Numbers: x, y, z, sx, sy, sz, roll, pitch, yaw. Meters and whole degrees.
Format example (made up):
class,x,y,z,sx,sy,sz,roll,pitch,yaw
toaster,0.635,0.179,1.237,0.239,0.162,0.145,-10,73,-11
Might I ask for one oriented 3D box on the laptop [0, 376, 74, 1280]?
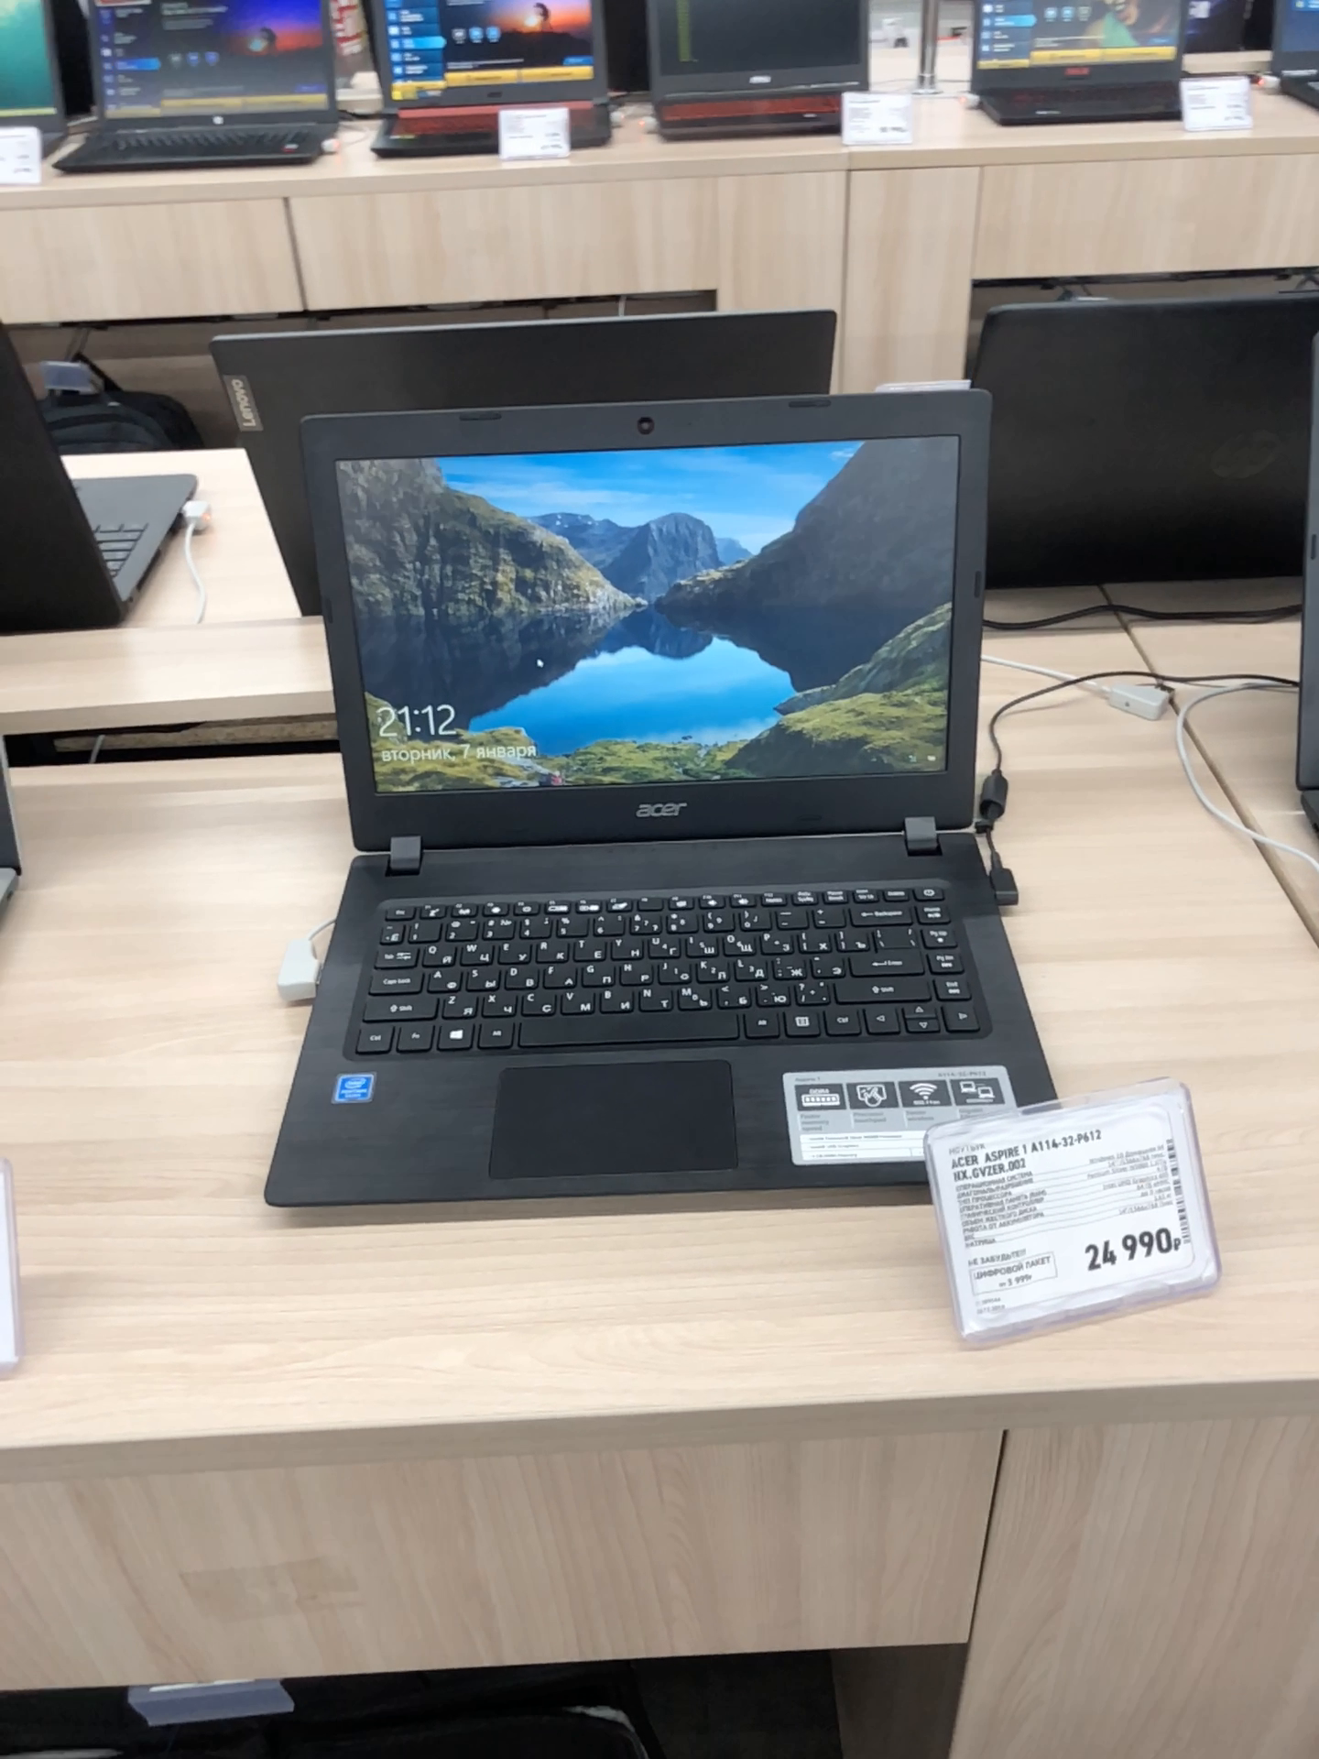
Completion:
class,x,y,z,sx,sy,sz,roll,pitch,yaw
laptop,-0.544,-0.044,0.661,0.362,0.236,0.339,-2,37,2

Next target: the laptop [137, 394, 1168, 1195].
class,x,y,z,sx,sy,sz,roll,pitch,yaw
laptop,-0.001,-0.054,0.666,0.342,0.223,0.303,-2,37,1

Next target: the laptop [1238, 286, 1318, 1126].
class,x,y,z,sx,sy,sz,roll,pitch,yaw
laptop,0.554,-0.107,0.690,0.379,0.216,0.378,-3,37,0
